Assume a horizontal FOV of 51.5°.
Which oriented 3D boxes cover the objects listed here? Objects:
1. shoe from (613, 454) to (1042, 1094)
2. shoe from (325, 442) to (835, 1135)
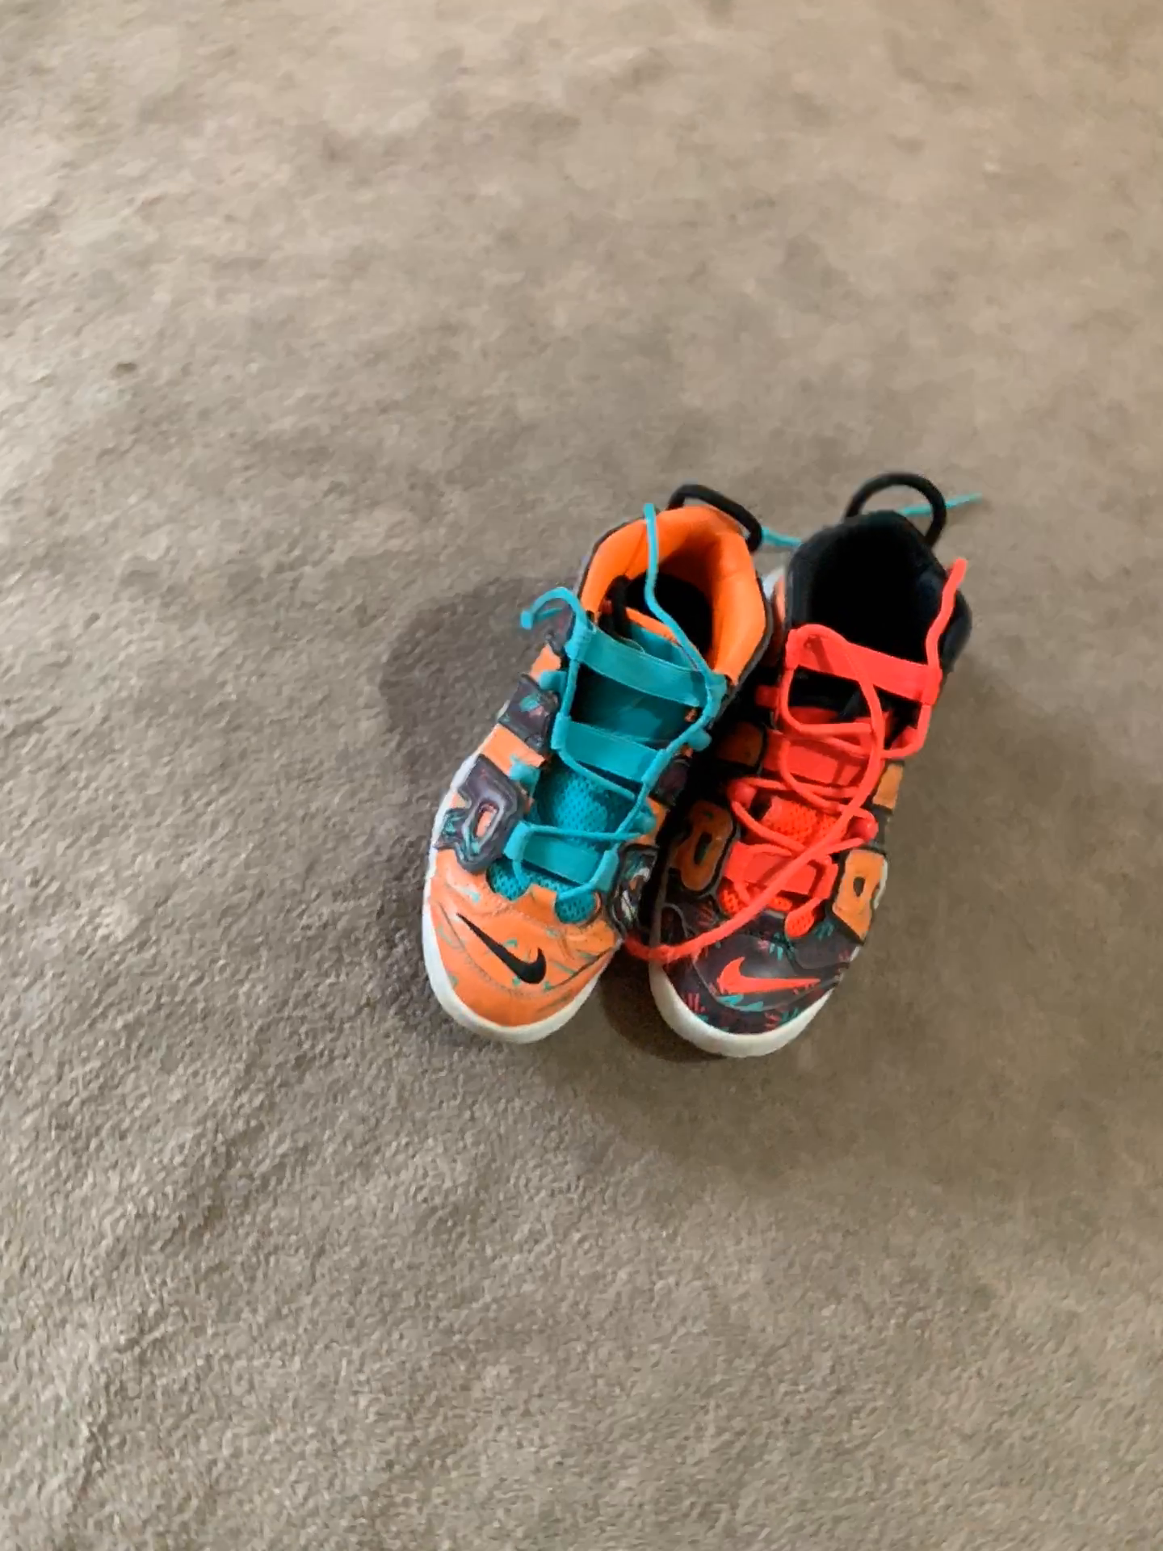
[{"bbox_3d":[0.099,0.004,0.508,0.100,0.110,0.231,18,75,4],"label":"shoe"},{"bbox_3d":[0.003,0.006,0.499,0.100,0.090,0.251,24,75,2],"label":"shoe"}]
